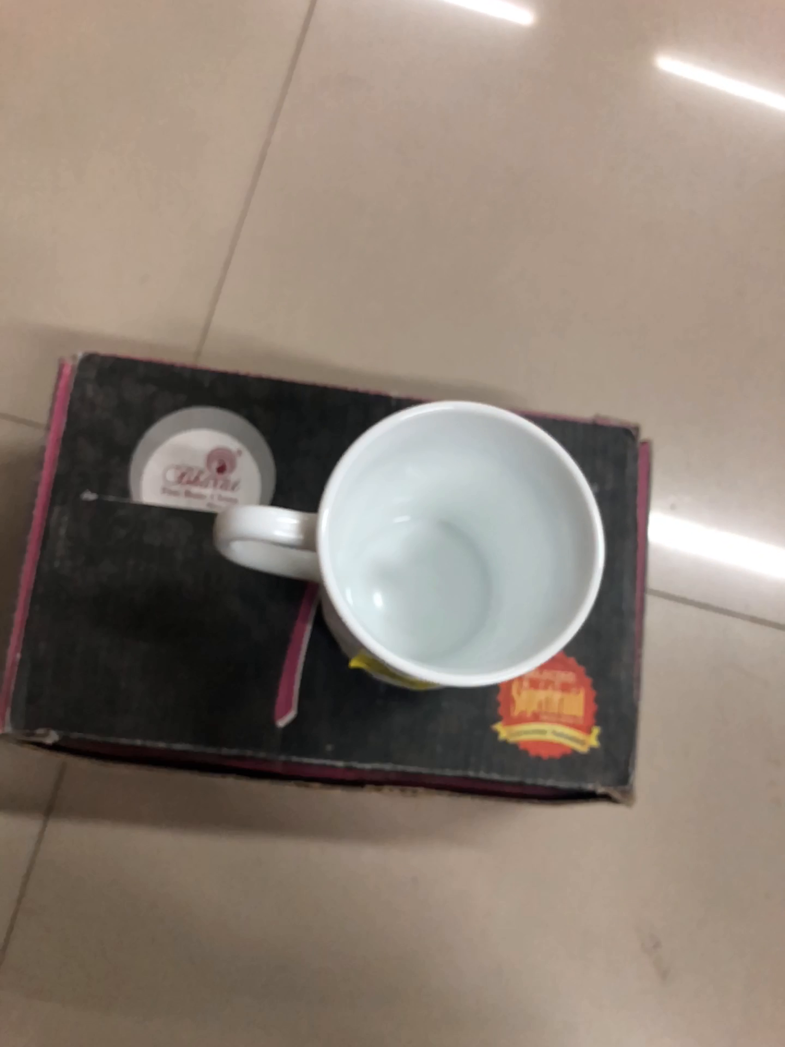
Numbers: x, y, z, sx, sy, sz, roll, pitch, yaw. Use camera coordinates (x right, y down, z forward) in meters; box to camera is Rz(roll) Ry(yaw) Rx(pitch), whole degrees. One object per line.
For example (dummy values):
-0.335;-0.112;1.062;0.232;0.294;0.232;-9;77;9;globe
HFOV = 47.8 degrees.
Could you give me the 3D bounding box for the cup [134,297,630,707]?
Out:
-0.004;0.002;0.277;0.120;0.090;0.090;10;76;-5;cup
